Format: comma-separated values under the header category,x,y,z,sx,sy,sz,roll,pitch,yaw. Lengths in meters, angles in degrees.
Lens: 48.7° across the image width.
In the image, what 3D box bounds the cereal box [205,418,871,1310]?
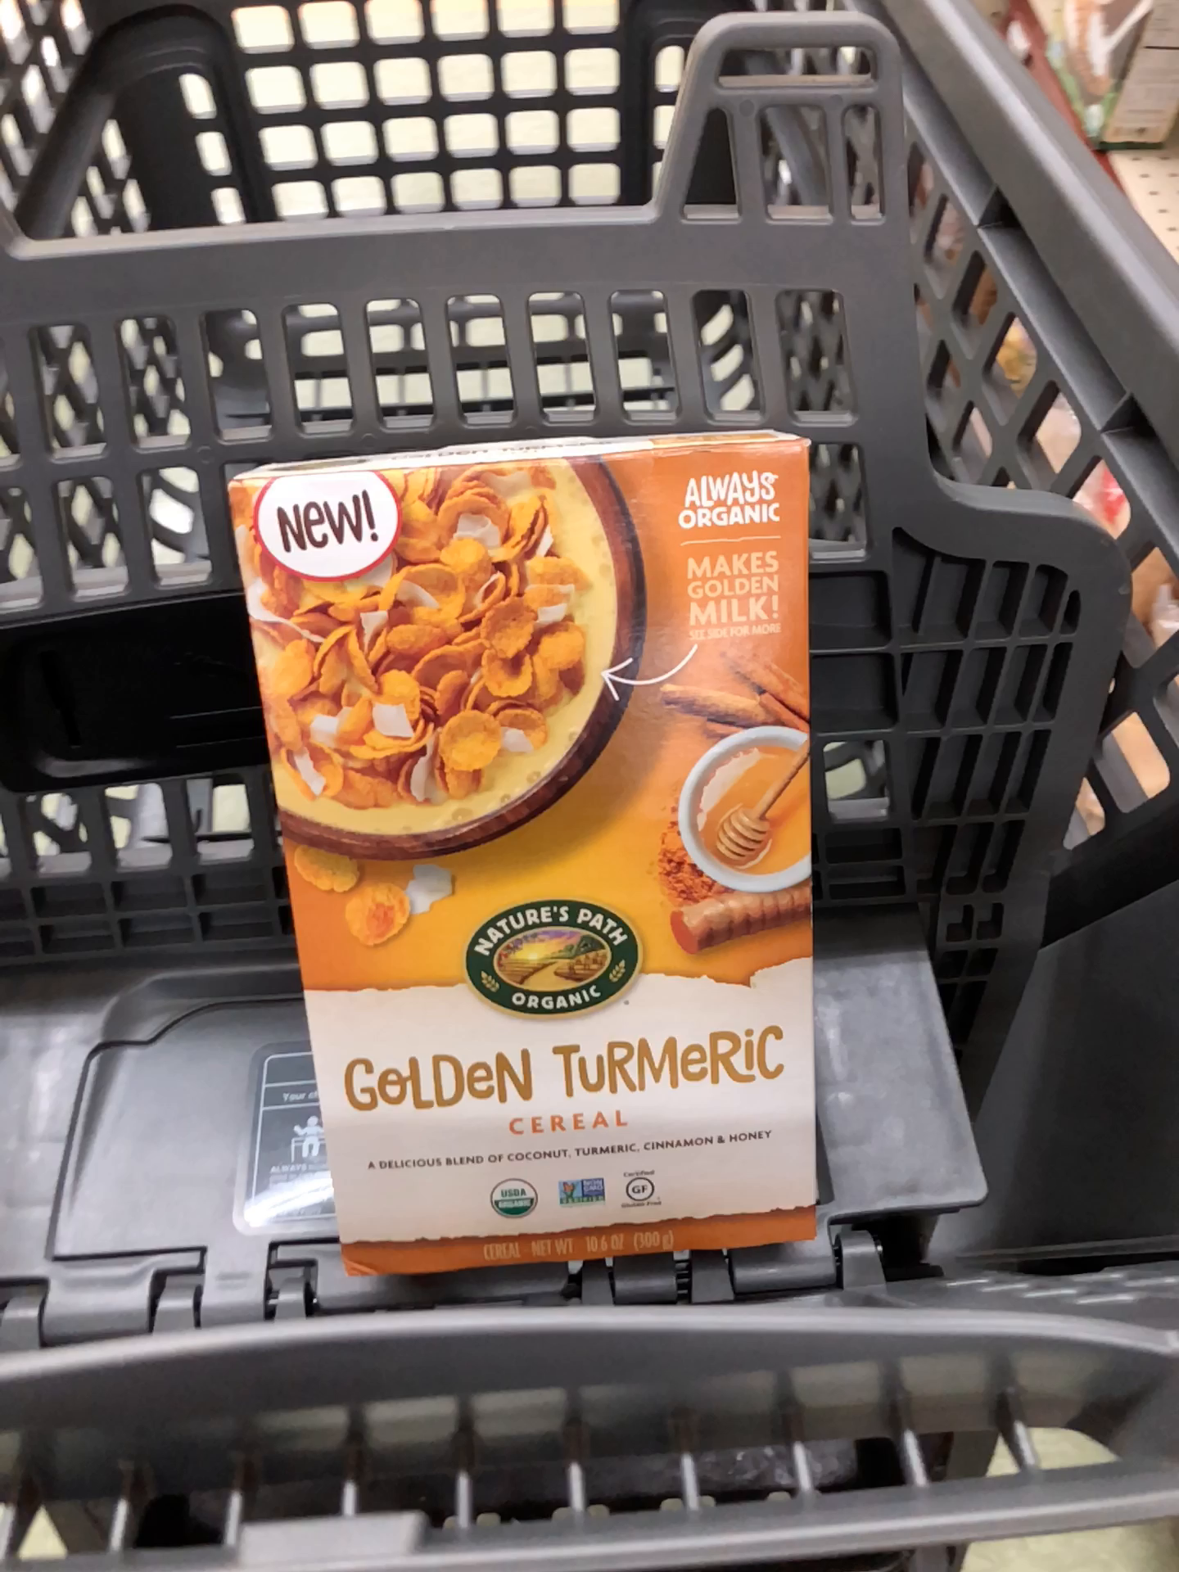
category,x,y,z,sx,sy,sz,roll,pitch,yaw
cereal box,-0.007,0.026,0.425,0.180,0.270,0.070,-4,16,-1
